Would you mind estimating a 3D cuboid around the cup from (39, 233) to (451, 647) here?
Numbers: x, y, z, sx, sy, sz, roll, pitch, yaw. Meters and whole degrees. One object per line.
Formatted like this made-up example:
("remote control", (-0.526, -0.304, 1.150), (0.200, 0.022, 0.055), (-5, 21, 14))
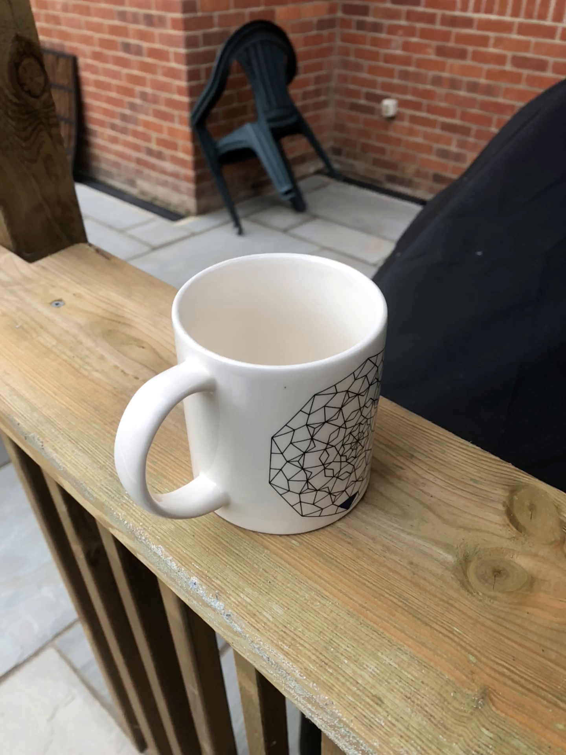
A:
("cup", (-0.009, 0.013, 0.262), (0.090, 0.089, 0.131), (27, 42, 32))
